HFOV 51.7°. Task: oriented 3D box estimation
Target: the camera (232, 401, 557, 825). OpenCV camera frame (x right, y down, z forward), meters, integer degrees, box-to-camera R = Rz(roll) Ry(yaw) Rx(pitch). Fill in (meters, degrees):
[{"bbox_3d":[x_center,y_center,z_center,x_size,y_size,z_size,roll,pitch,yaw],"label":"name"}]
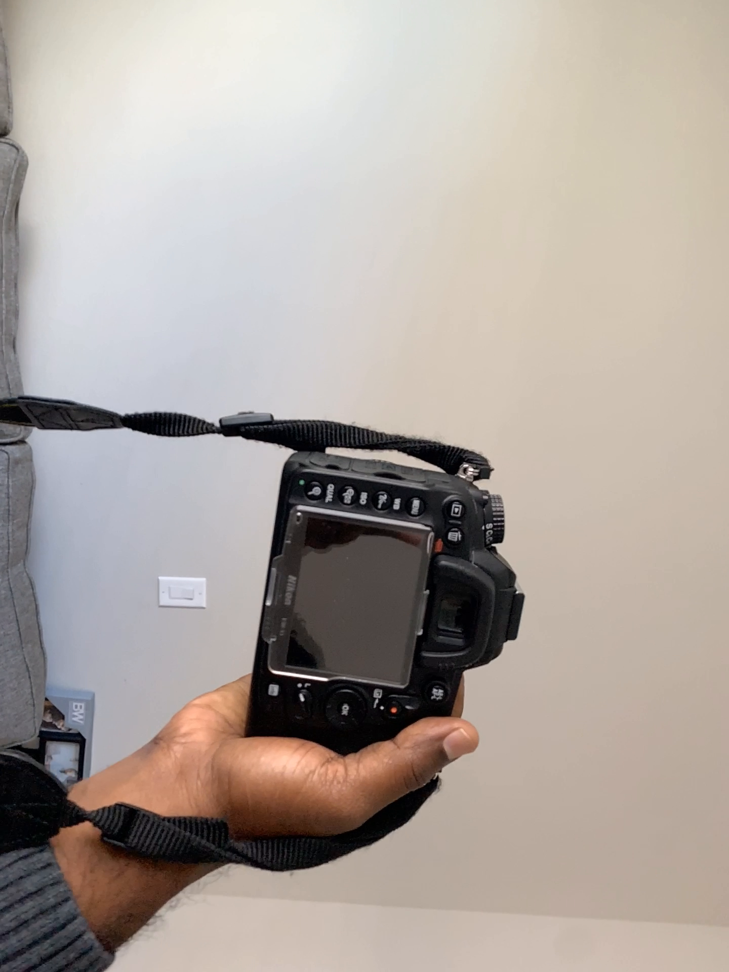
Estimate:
[{"bbox_3d":[0.010,0.052,0.411,0.170,0.114,0.160,-93,-167,-78],"label":"camera"}]
